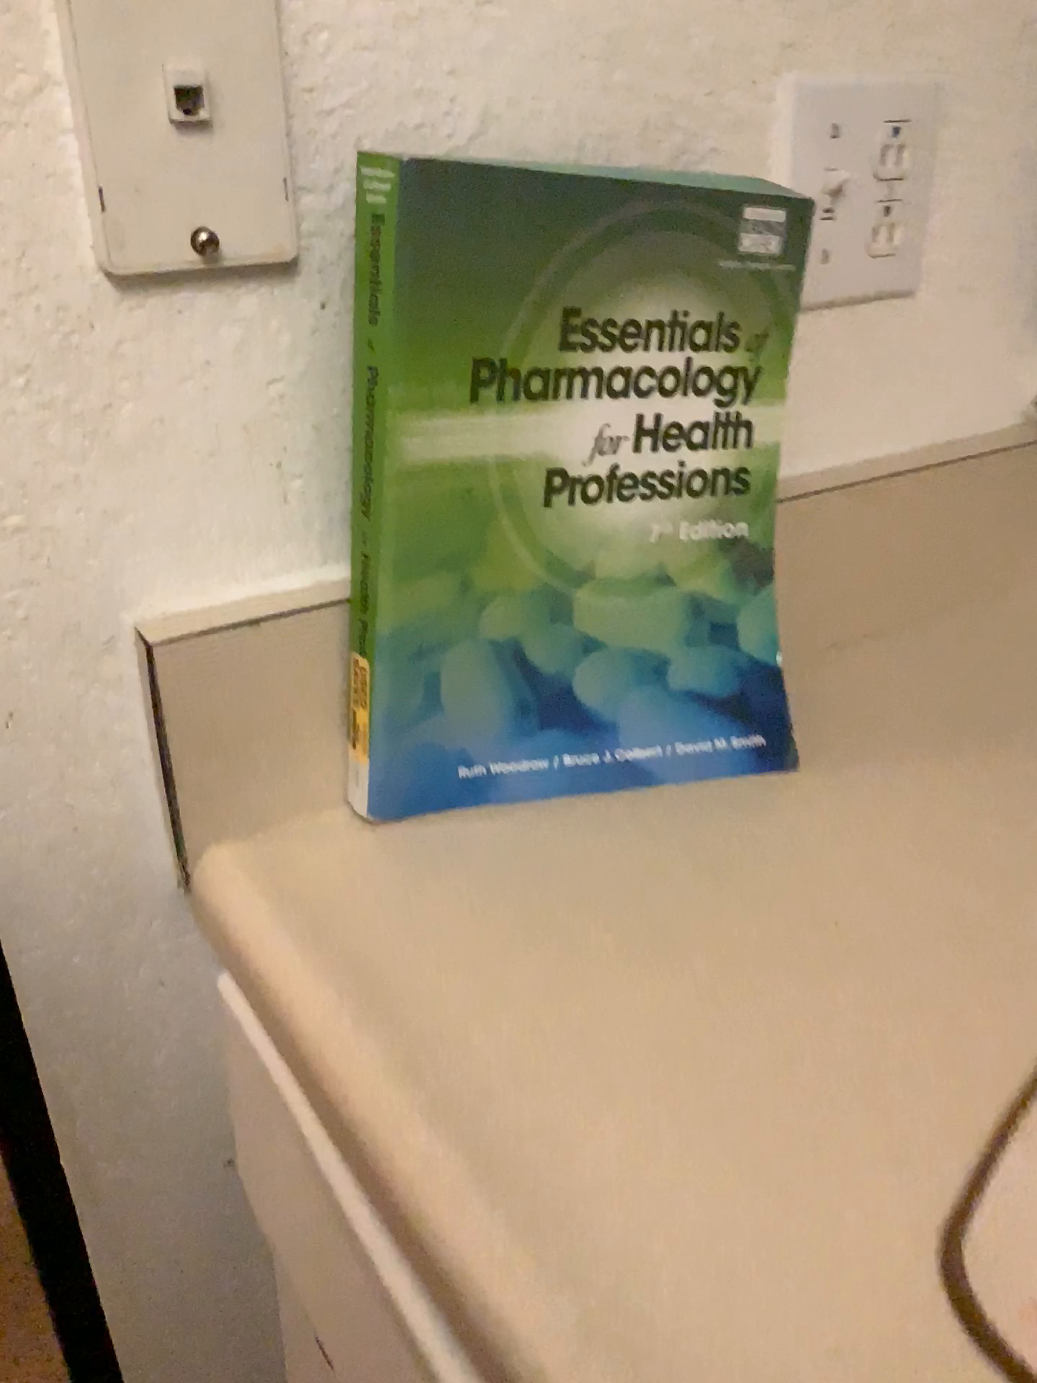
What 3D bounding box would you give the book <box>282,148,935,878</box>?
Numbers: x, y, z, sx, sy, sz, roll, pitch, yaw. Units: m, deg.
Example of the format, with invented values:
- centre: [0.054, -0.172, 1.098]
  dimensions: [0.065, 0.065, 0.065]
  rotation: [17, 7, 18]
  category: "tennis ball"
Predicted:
- centre: [0.035, -0.083, 0.502]
  dimensions: [0.240, 0.270, 0.090]
  rotation: [-11, 28, -25]
  category: "book"
